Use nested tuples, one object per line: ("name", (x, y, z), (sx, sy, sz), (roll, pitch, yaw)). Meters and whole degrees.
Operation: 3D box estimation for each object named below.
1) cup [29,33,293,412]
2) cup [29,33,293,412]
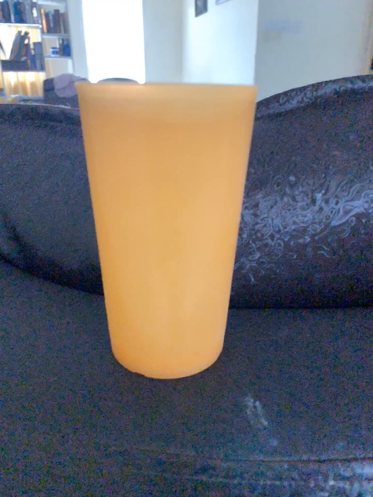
("cup", (-0.007, -0.016, 0.170), (0.070, 0.129, 0.070), (0, 23, 0))
("cup", (-0.007, -0.016, 0.170), (0.070, 0.129, 0.070), (0, 23, 0))
